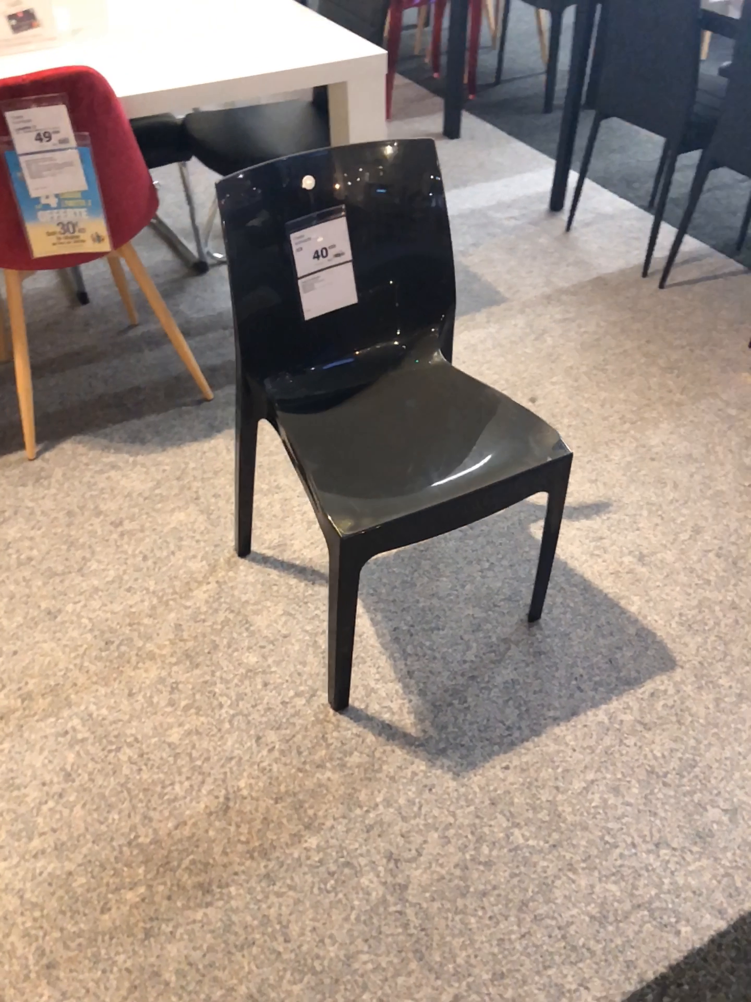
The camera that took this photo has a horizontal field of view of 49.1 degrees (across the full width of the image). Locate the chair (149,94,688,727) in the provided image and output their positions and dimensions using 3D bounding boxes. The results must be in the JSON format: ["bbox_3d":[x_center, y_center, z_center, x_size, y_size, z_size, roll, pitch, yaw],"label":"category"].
[{"bbox_3d":[0.031,-0.160,1.393,0.522,0.765,0.571,-21,47,-22],"label":"chair"}]
